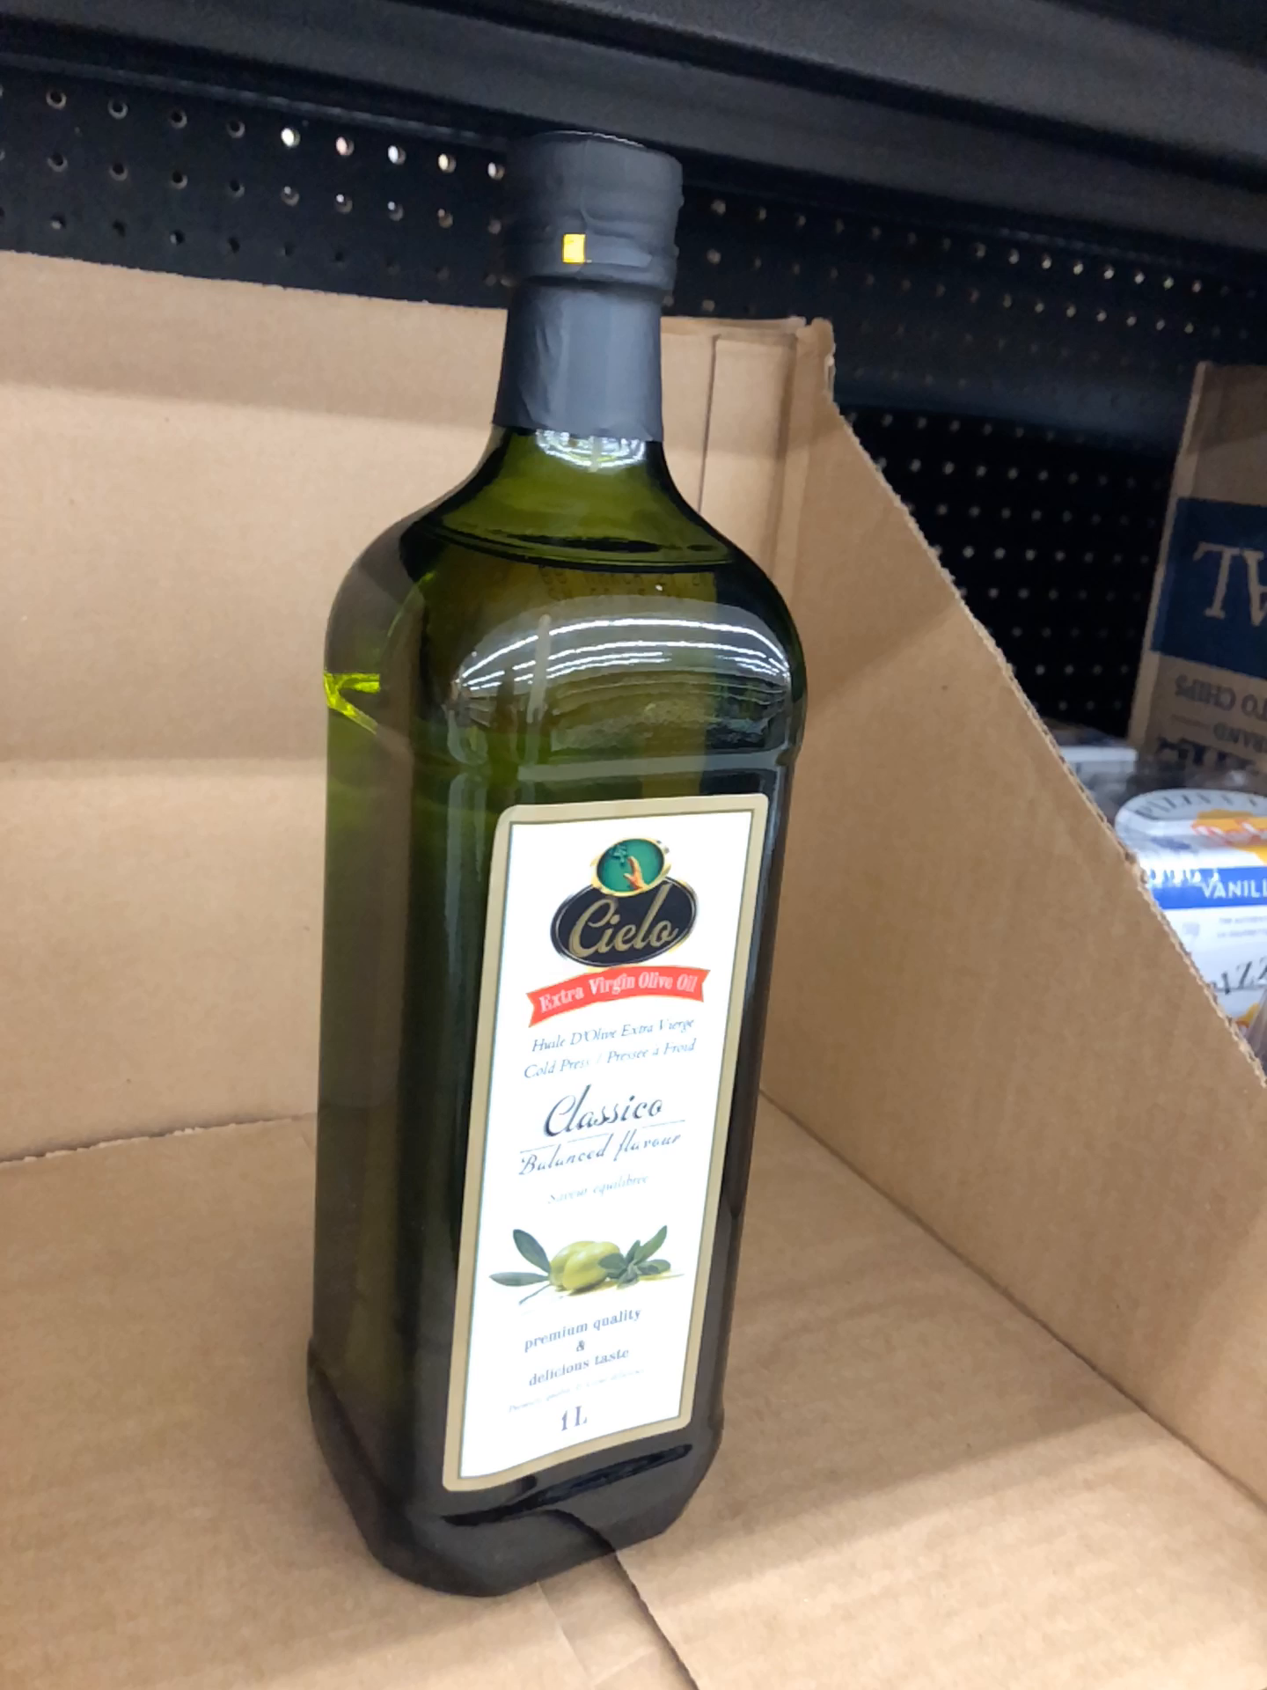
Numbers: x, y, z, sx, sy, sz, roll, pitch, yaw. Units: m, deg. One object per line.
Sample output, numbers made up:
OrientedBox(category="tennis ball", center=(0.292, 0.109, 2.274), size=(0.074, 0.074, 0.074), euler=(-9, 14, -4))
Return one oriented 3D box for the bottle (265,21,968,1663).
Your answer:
OrientedBox(category="bottle", center=(-0.017, 0.009, 0.288), size=(0.090, 0.288, 0.080), euler=(-4, 21, -29))
